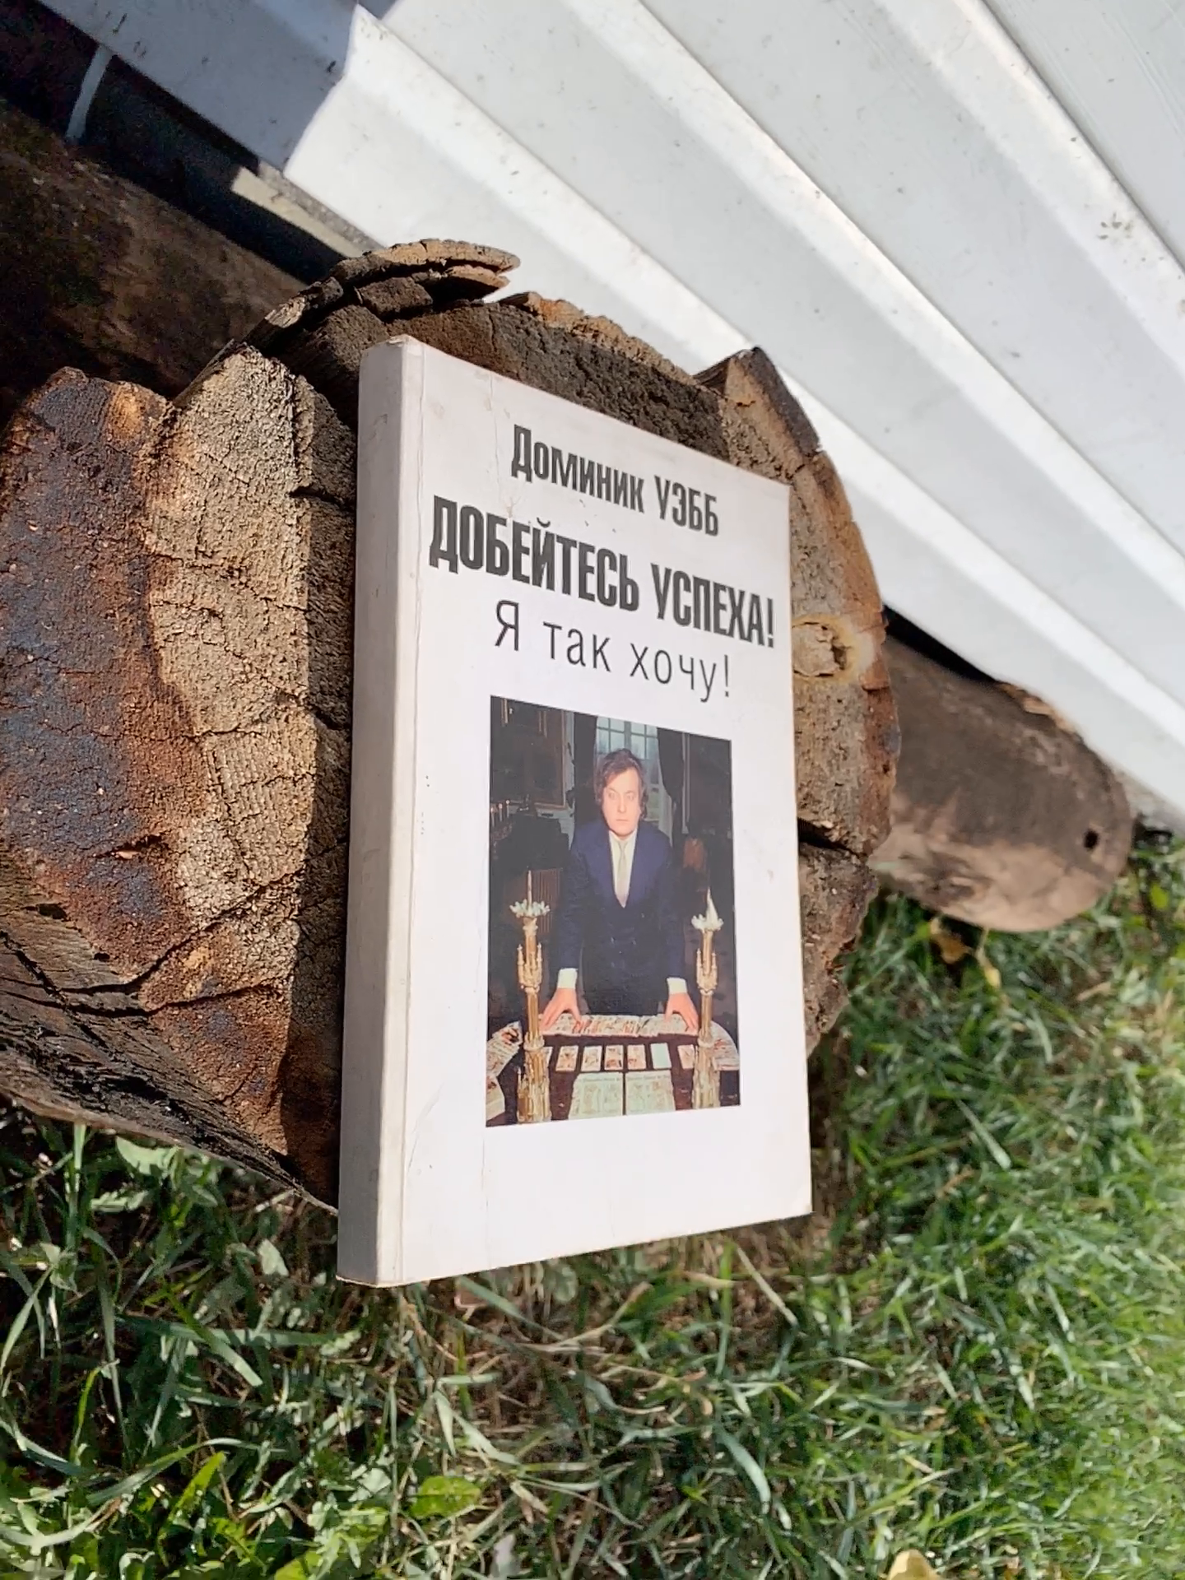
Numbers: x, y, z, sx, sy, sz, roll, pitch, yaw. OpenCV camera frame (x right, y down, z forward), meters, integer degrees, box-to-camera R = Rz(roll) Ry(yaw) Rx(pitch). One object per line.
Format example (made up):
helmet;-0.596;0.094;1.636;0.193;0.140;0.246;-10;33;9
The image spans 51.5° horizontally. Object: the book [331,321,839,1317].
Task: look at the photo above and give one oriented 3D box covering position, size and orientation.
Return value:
book;0.006;0.007;0.308;0.140;0.020;0.210;8;77;-40
